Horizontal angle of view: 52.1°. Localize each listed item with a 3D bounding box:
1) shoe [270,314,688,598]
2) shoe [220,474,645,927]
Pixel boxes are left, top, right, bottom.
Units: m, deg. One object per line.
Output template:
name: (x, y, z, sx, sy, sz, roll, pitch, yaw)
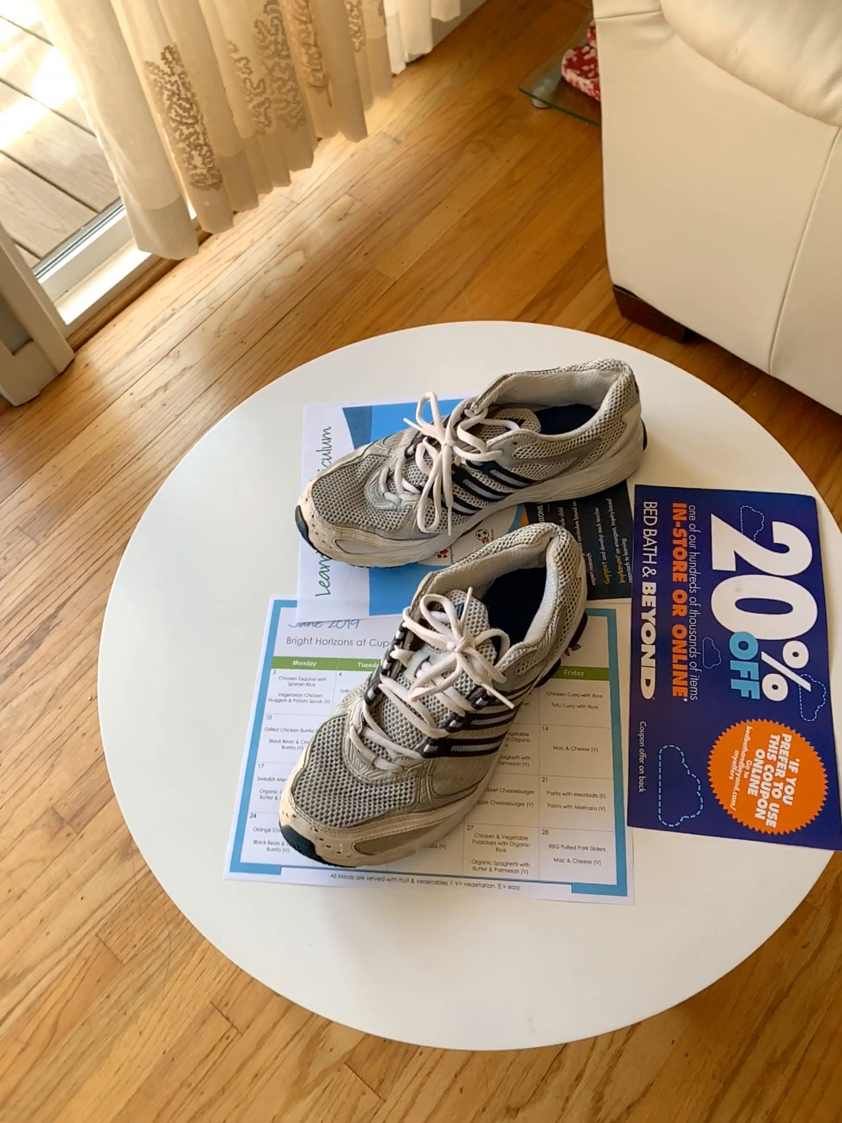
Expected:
shoe: (0.042, -0.080, 0.656, 0.280, 0.080, 0.110, -18, 62, -4)
shoe: (0.016, 0.087, 0.585, 0.120, 0.080, 0.280, 36, 71, 21)
